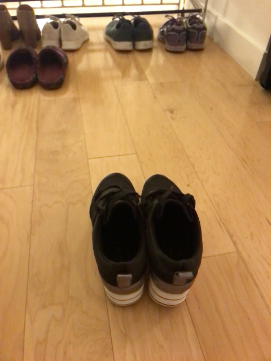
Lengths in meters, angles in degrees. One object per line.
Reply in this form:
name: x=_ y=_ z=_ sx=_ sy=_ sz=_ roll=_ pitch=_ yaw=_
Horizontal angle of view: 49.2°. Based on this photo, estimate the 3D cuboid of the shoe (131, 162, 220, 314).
shoe: x=0.053 y=0.086 z=0.526 sx=0.110 sy=0.099 sz=0.252 roll=-1 pitch=43 yaw=-3

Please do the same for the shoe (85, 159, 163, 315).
shoe: x=-0.031 y=0.083 z=0.522 sx=0.100 sy=0.099 sz=0.252 roll=-5 pitch=44 yaw=-7
